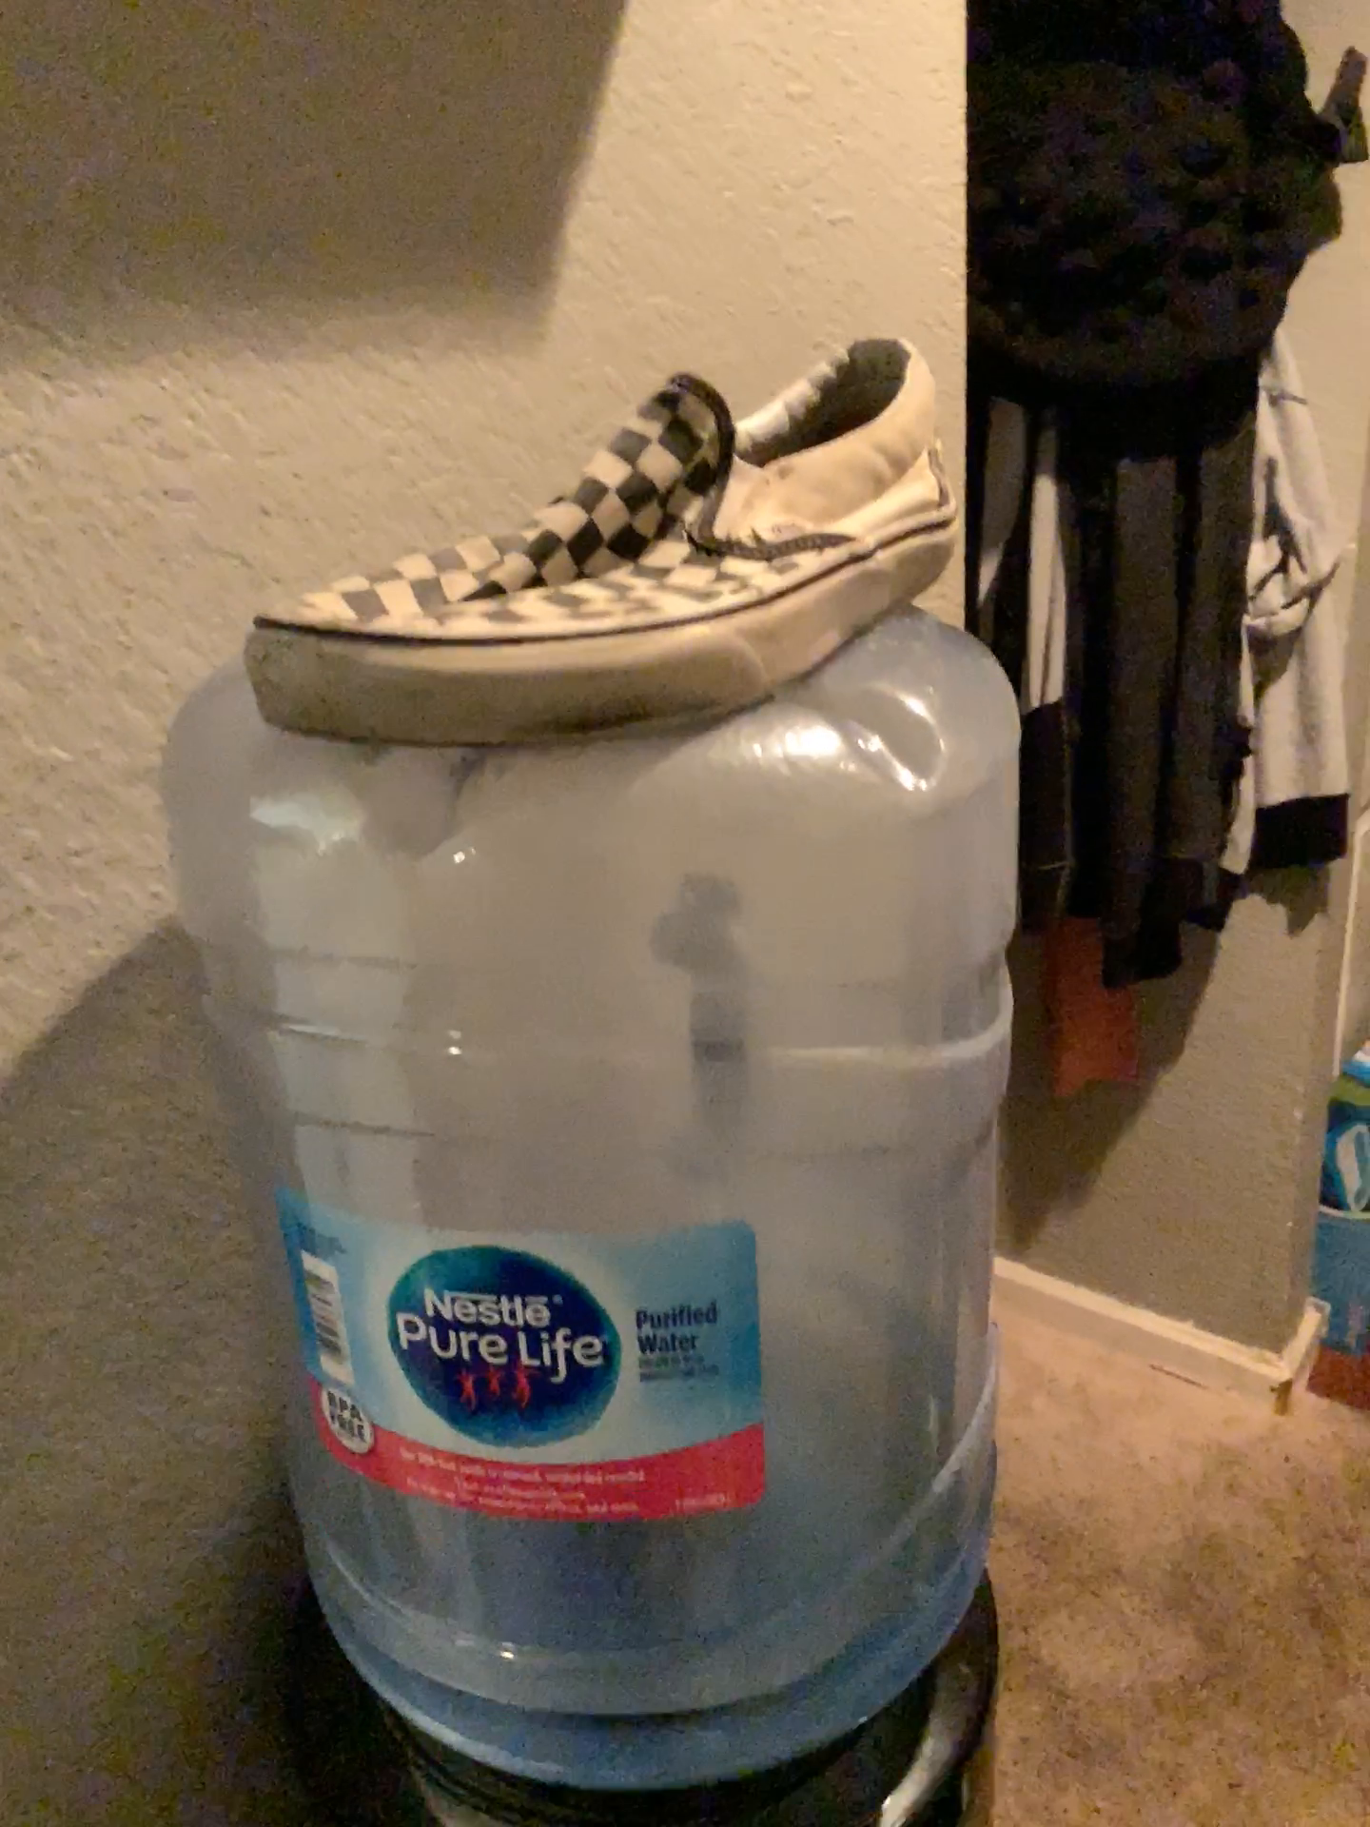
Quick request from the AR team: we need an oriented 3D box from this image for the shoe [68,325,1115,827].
[{"bbox_3d":[-0.005,-0.114,0.436,0.130,0.080,0.280,16,29,39],"label":"shoe"}]
